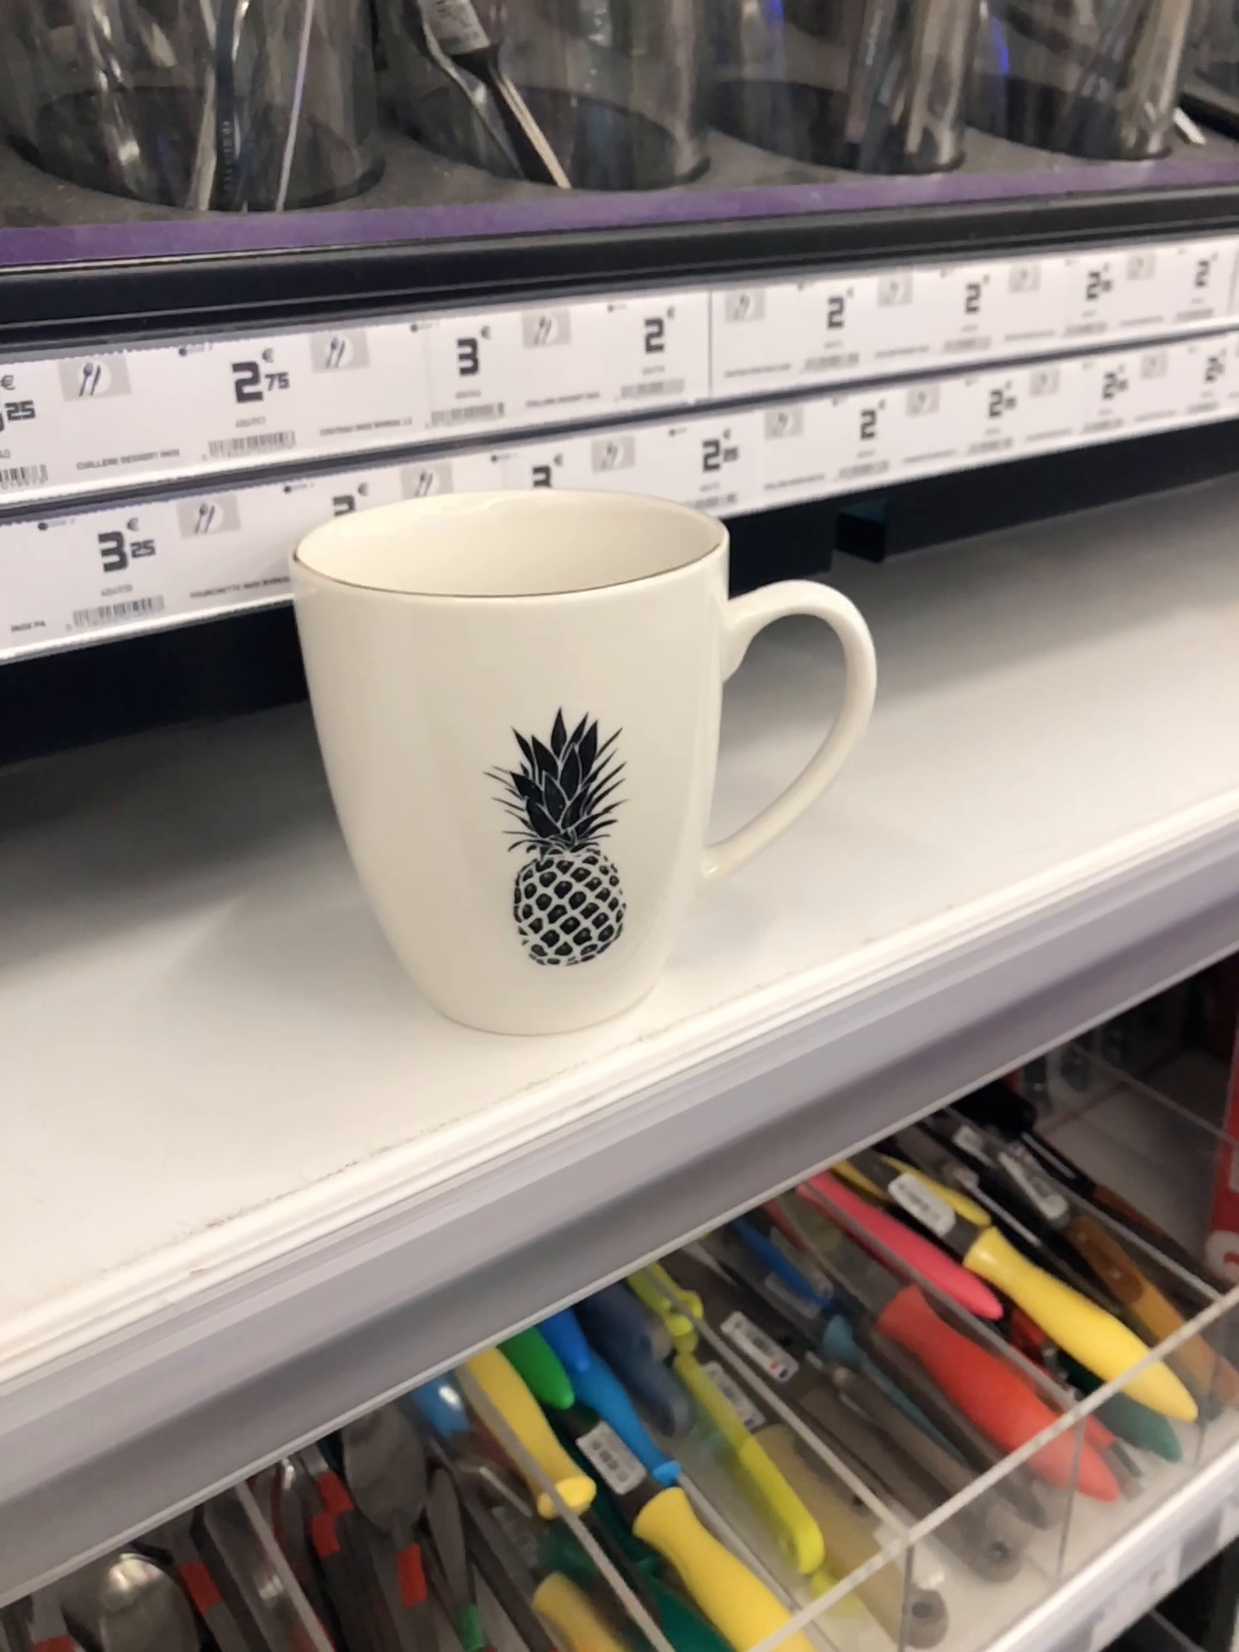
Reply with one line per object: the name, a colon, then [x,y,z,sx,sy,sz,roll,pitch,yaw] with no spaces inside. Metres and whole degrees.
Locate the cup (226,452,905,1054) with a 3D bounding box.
cup: [-0.011,-0.020,0.290,0.114,0.093,0.083,-4,28,-5]
